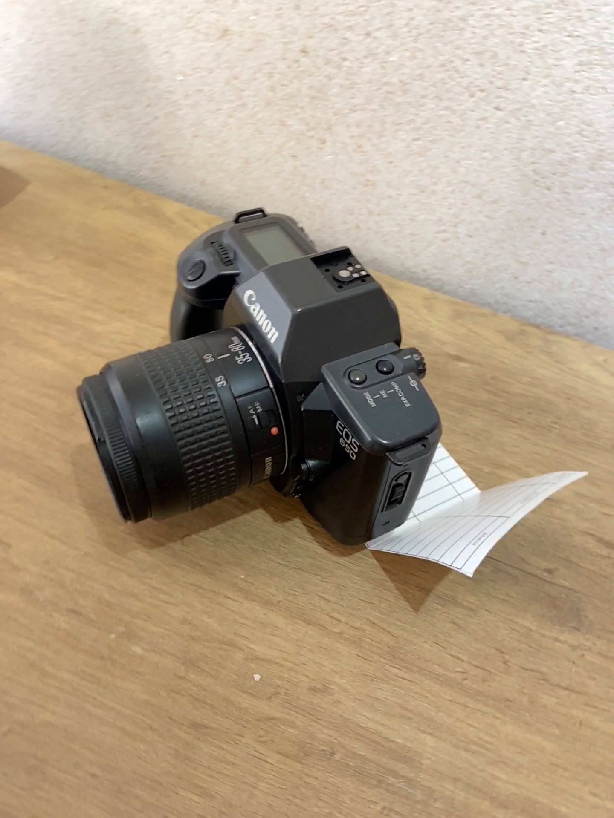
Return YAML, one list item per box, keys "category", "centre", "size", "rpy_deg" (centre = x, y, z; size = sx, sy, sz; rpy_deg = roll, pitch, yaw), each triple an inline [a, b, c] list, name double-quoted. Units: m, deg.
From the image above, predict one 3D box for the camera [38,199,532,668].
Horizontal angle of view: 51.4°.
- category: "camera"
  centre: [-0.018, -0.001, 0.280]
  size: [0.140, 0.099, 0.140]
  rpy_deg: [-19, 52, -24]
